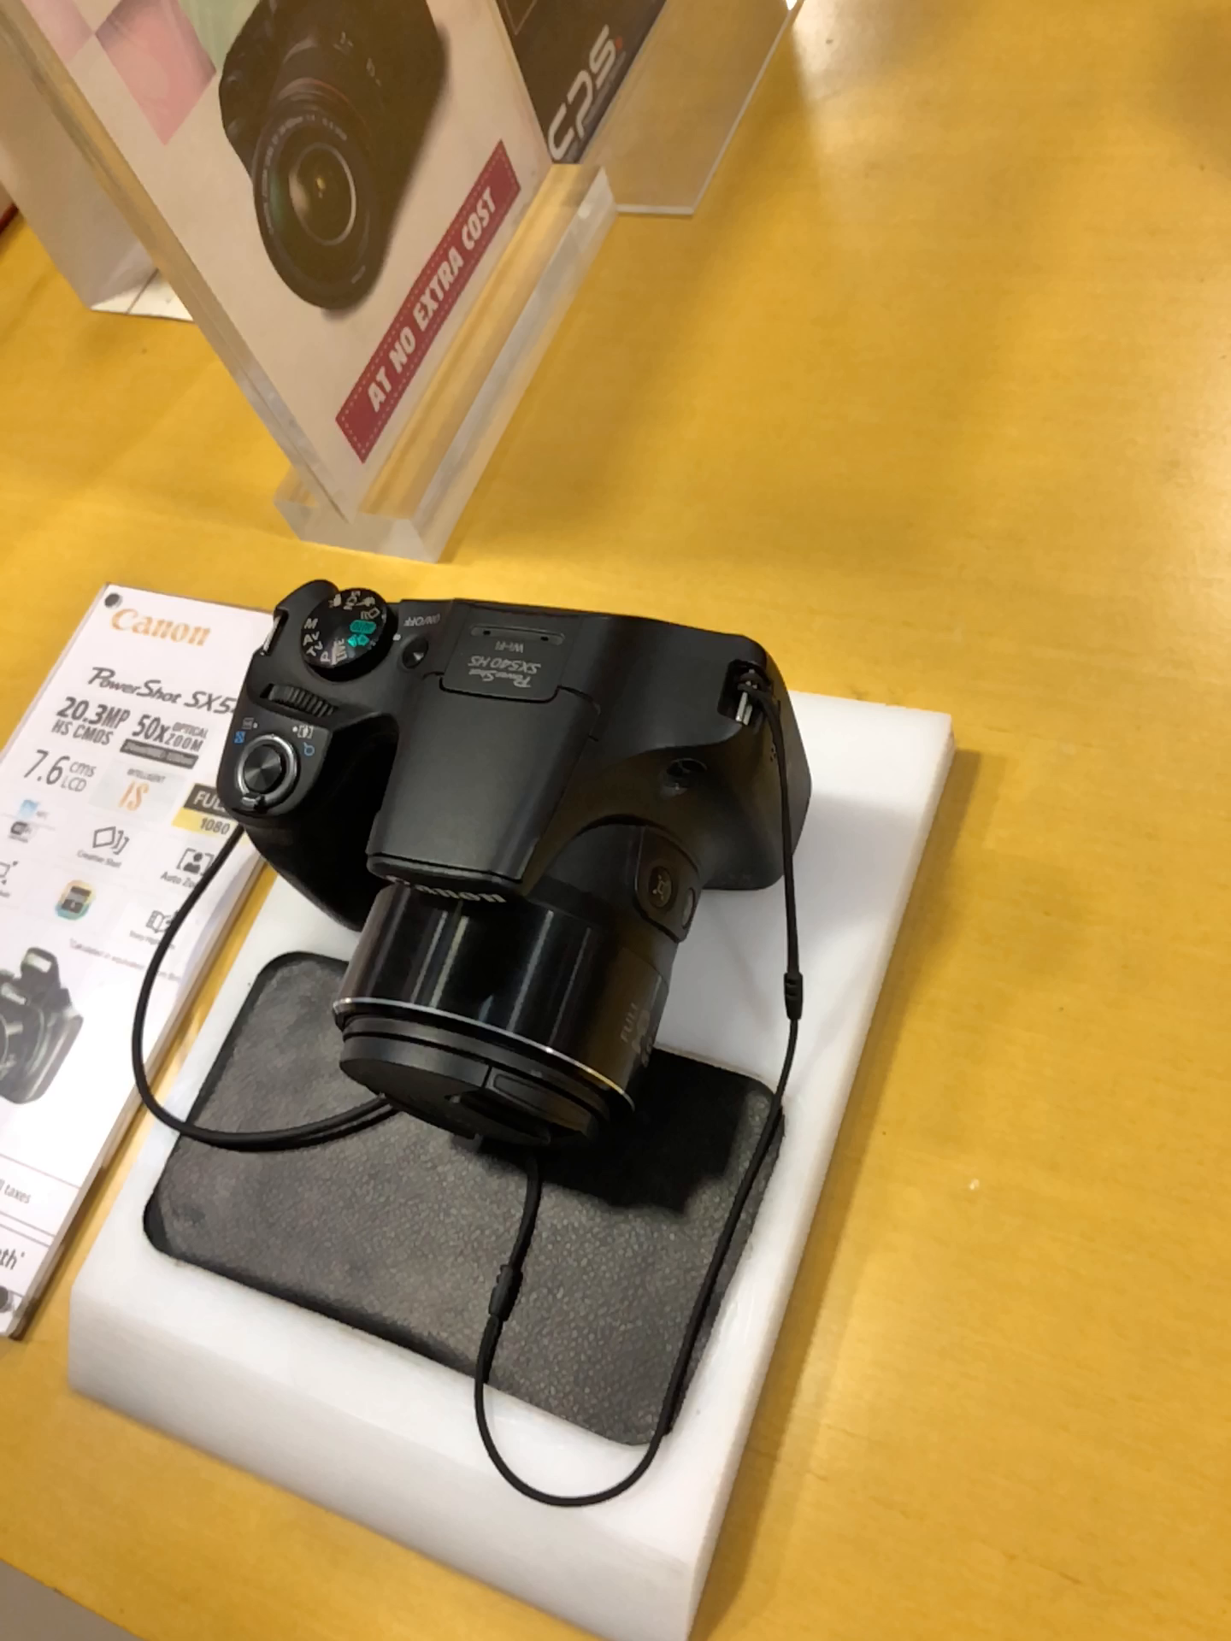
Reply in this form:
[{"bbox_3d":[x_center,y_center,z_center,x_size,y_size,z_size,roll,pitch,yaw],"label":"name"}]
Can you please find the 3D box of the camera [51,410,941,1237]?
[{"bbox_3d":[-0.012,-0.003,0.289,0.130,0.090,0.130,9,65,21],"label":"camera"}]
